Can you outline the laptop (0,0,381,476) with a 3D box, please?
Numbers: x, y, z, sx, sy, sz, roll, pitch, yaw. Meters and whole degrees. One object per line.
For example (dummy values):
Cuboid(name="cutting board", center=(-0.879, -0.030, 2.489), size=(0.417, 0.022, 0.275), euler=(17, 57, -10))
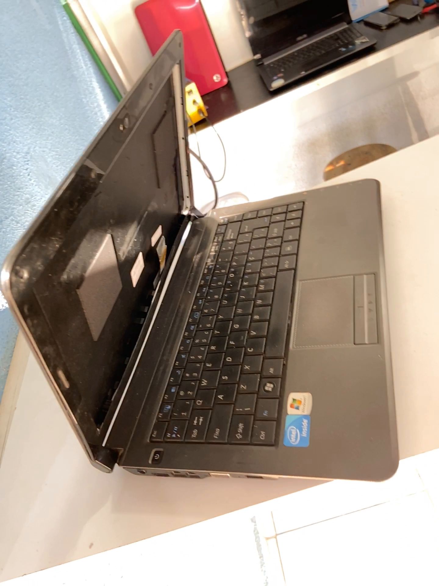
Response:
Cuboid(name="laptop", center=(0.003, -0.061, 0.378), size=(0.206, 0.206, 0.332), euler=(-8, 44, 24))
